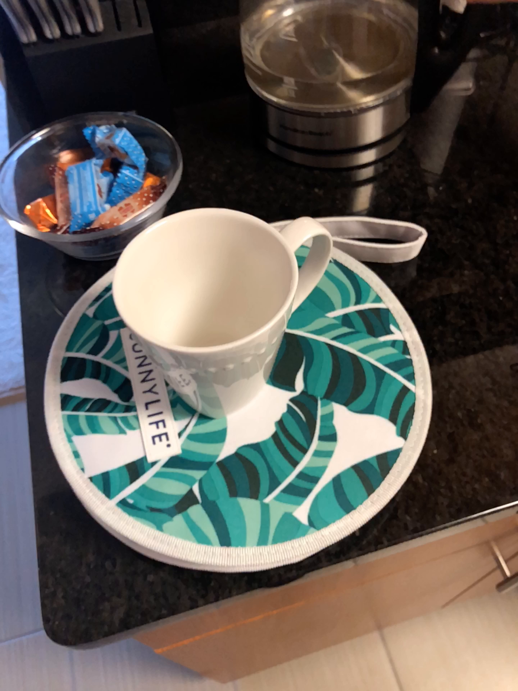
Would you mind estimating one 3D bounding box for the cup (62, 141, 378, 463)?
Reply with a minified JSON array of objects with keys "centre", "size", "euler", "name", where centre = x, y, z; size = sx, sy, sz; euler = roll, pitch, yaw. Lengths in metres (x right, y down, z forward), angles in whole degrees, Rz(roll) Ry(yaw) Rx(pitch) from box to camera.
[{"centre":[-0.016,-0.025,0.324],"size":[0.090,0.090,0.130],"euler":[39,67,24],"name":"cup"}]
